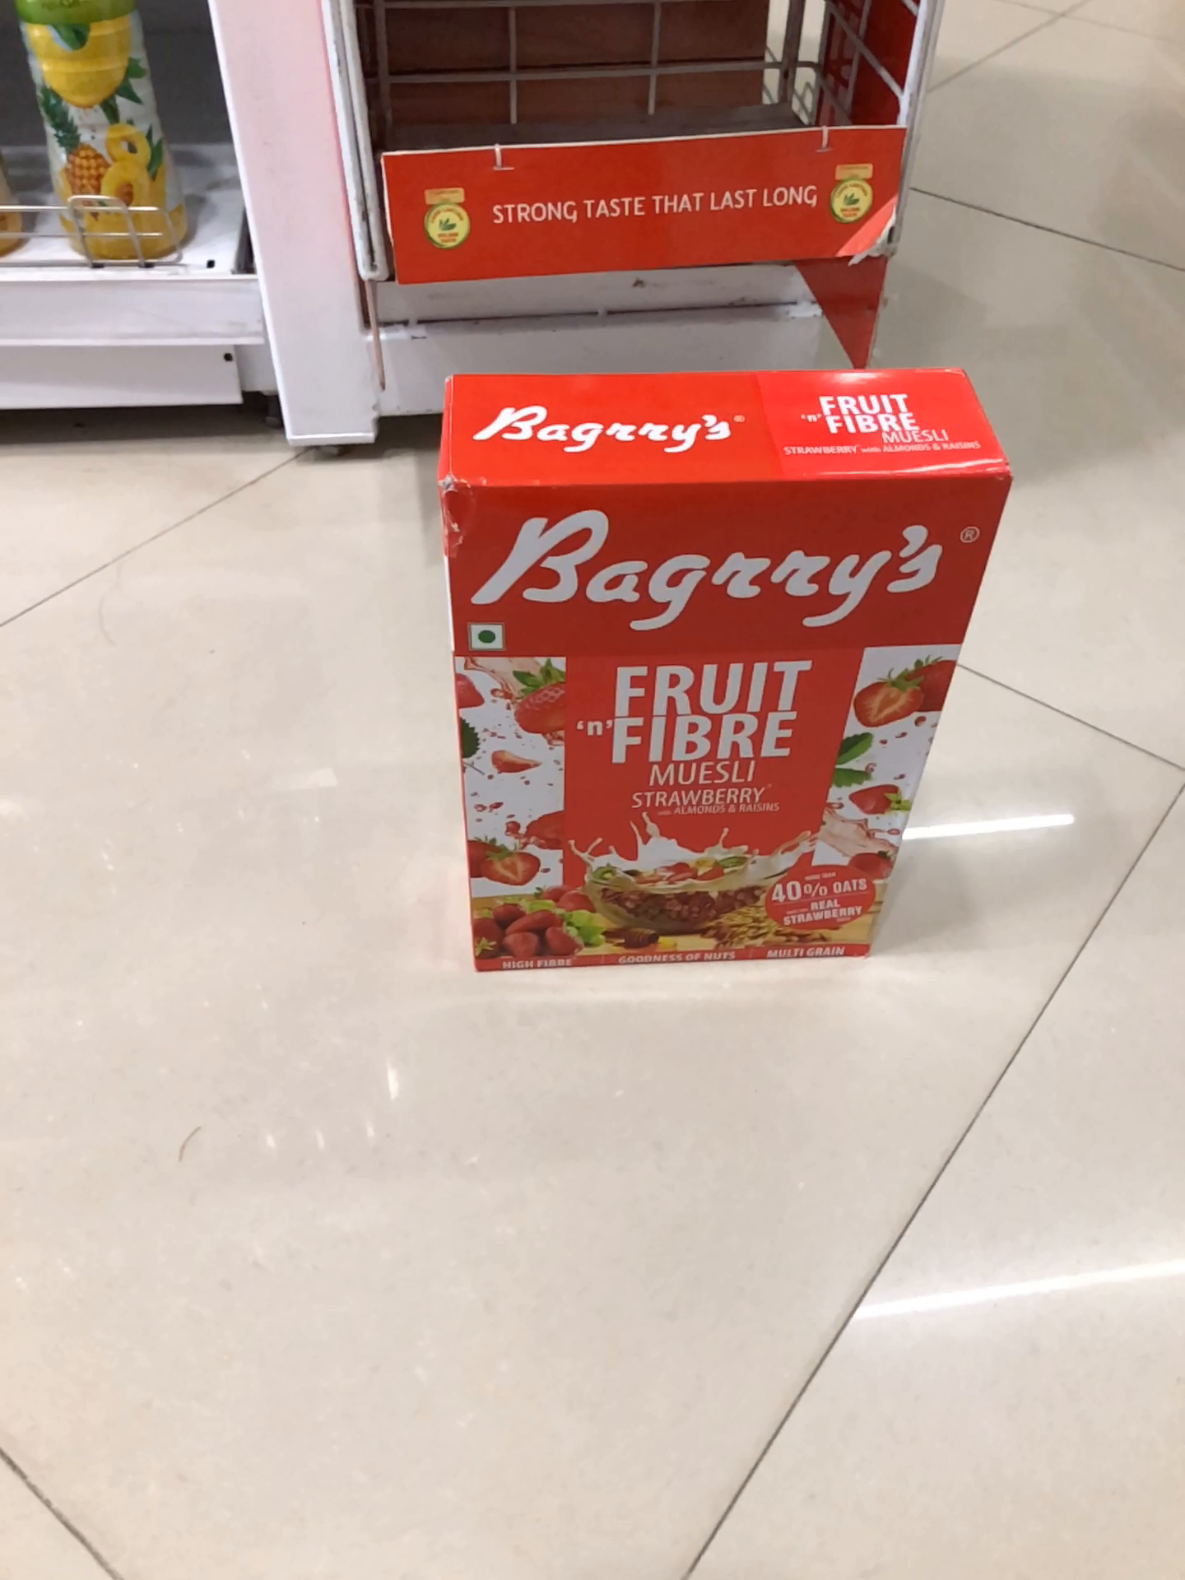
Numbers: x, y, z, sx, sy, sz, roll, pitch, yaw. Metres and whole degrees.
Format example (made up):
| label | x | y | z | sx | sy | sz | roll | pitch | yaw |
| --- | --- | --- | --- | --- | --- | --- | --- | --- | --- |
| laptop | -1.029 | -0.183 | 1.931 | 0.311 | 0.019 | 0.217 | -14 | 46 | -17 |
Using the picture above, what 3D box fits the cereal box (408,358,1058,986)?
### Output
| label | x | y | z | sx | sy | sz | roll | pitch | yaw |
| --- | --- | --- | --- | --- | --- | --- | --- | --- | --- |
| cereal box | 0.040 | -0.032 | 0.516 | 0.200 | 0.258 | 0.070 | -2 | 47 | -4 |
